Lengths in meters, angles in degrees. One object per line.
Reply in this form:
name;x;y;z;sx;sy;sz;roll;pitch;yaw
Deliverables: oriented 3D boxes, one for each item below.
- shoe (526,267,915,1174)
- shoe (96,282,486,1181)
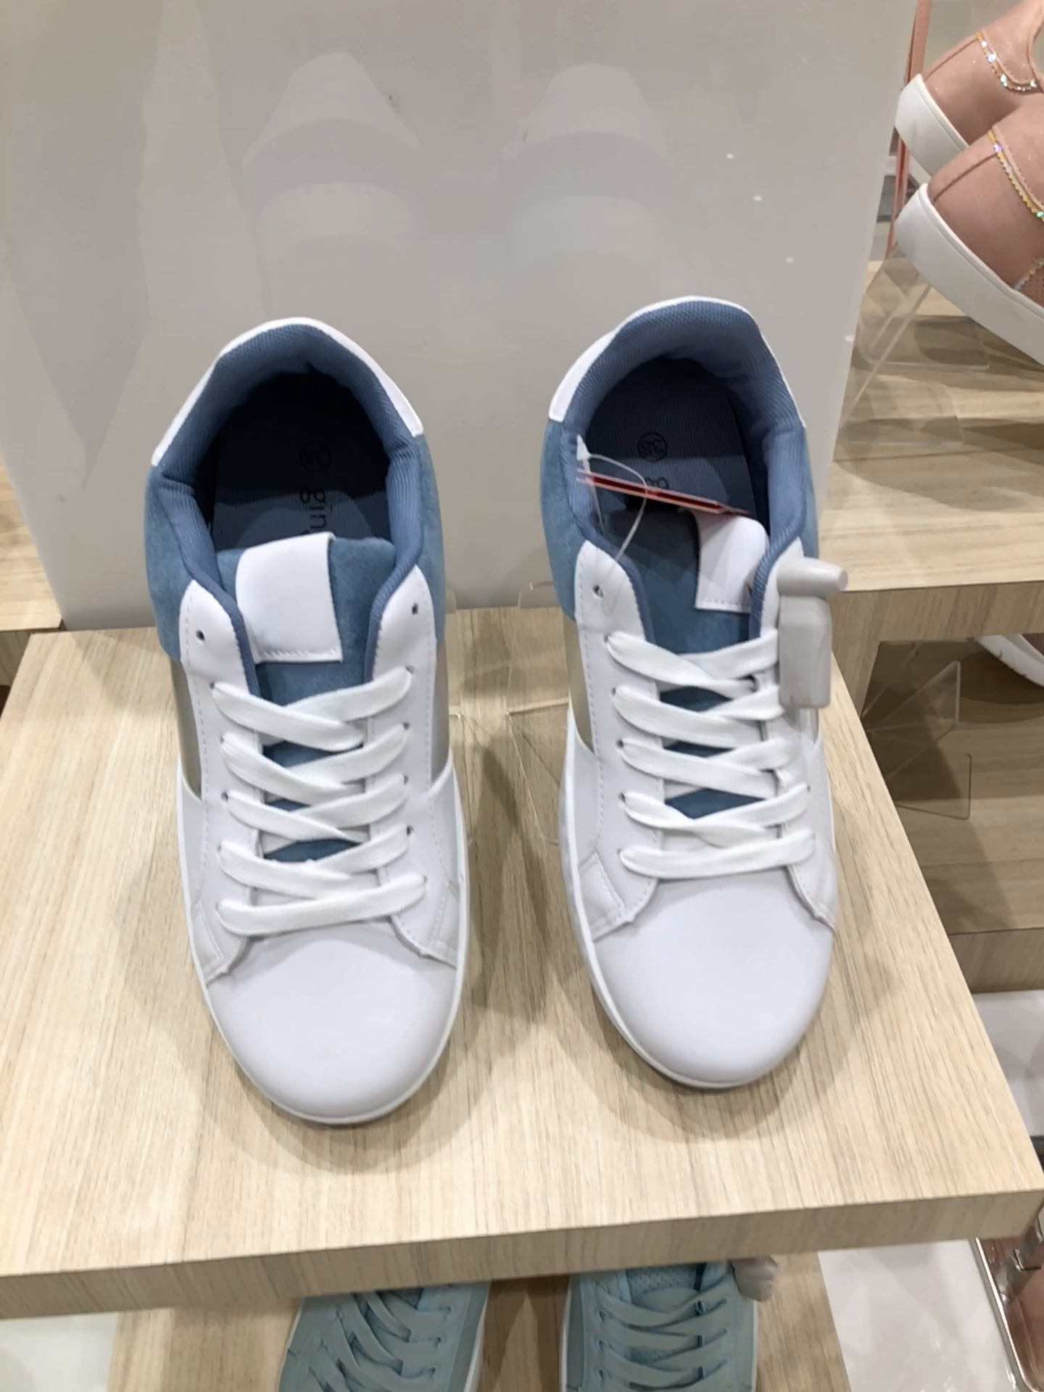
shoe;0.059;0.006;0.380;0.100;0.260;0.090;-3;2;-2
shoe;-0.068;0.009;0.383;0.100;0.260;0.090;-3;2;-2
